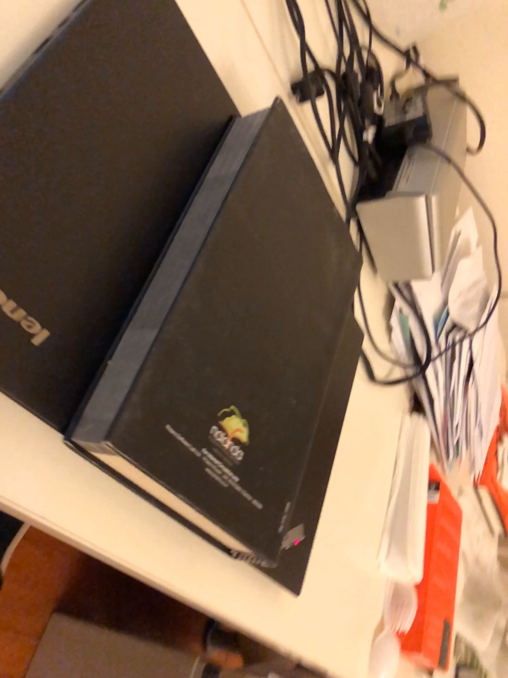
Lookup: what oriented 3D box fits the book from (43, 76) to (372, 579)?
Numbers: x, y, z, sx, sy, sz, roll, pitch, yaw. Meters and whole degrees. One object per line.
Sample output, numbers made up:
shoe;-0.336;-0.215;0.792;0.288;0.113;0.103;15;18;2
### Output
book;0.003;-0.010;0.316;0.150;0.040;0.231;51;46;-41
